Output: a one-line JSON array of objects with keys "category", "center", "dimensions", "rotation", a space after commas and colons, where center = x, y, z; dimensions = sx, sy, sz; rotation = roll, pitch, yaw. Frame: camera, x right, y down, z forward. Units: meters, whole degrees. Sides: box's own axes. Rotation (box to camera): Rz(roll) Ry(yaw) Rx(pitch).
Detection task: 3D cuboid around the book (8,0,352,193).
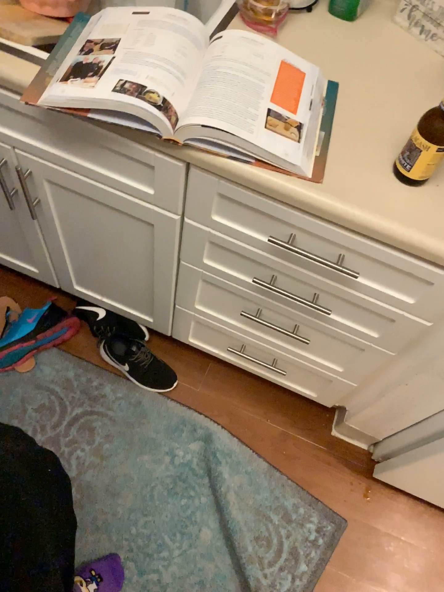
[{"category": "book", "center": [-0.046, -0.374, 0.865], "dimensions": [0.530, 0.040, 0.310], "rotation": [15, 60, -1]}]
